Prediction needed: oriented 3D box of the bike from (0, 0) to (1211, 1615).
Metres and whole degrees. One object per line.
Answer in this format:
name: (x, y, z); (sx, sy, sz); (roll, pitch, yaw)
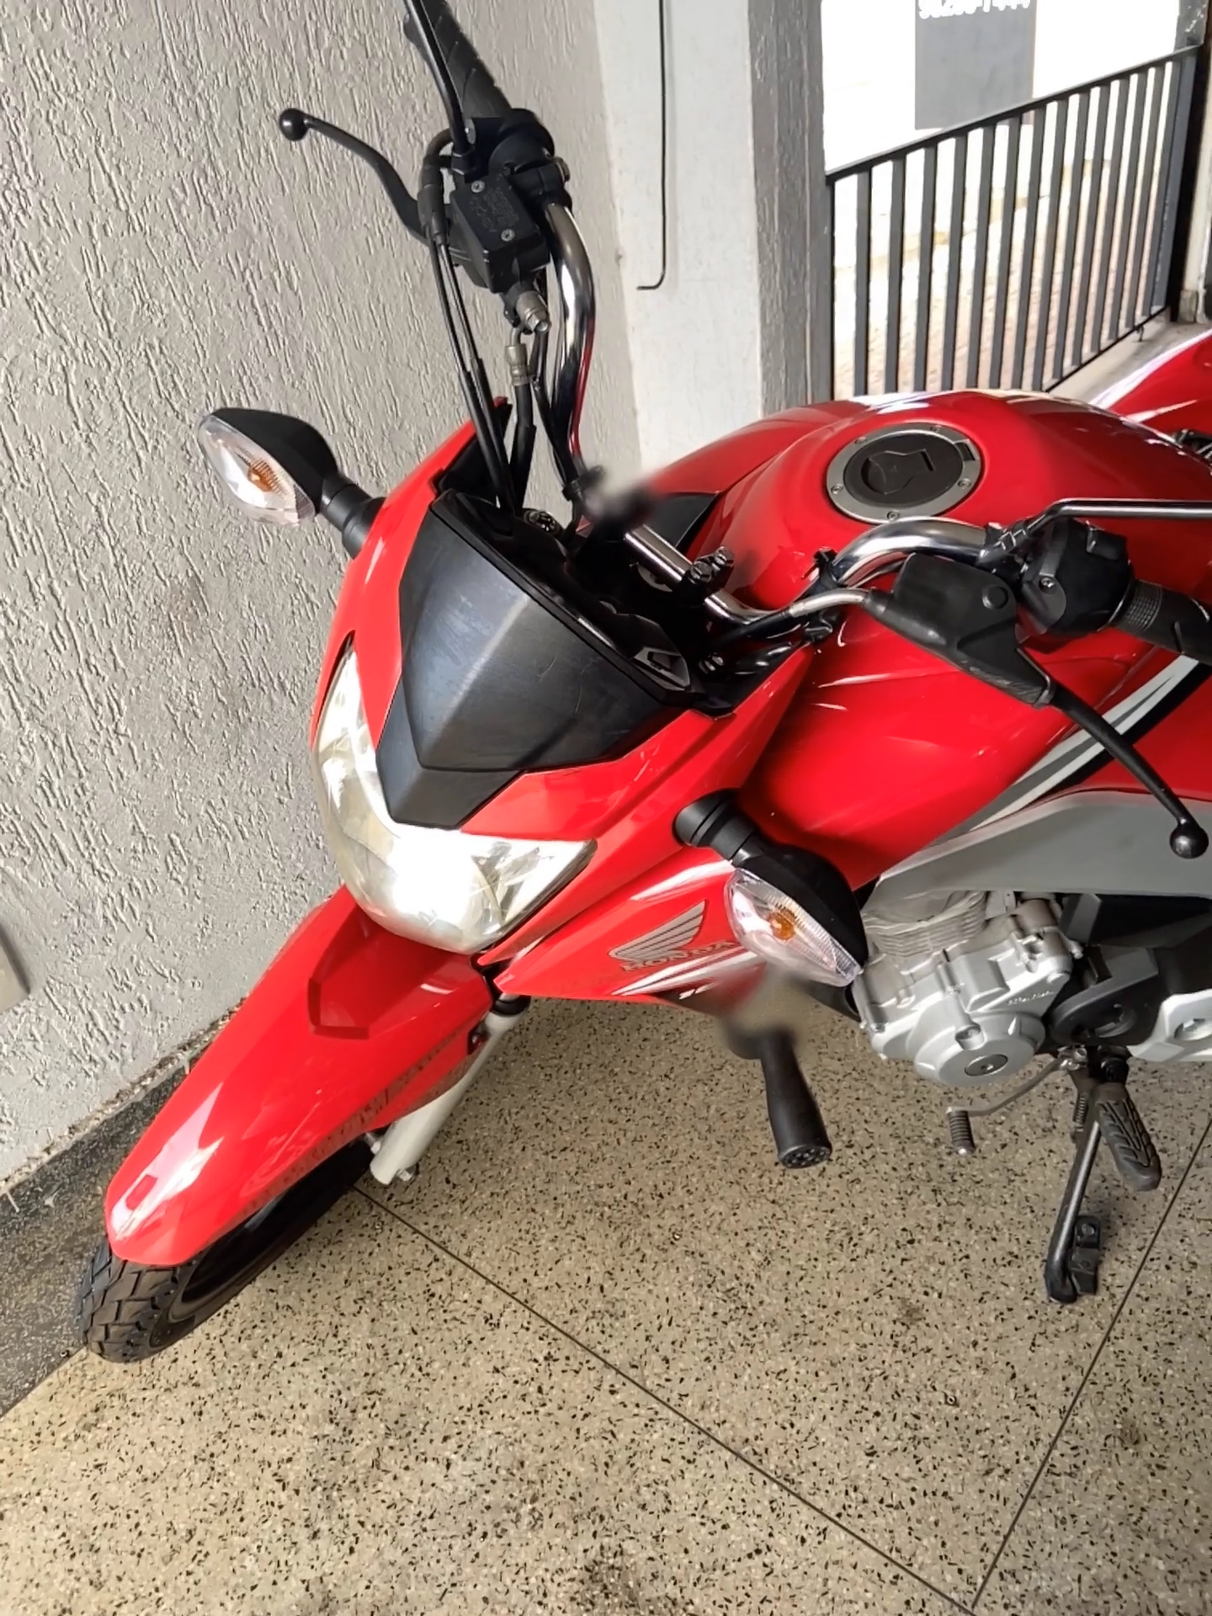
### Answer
bike: (0.430, 0.119, 1.092); (1.991, 1.421, 0.872); (-15, 33, -7)
